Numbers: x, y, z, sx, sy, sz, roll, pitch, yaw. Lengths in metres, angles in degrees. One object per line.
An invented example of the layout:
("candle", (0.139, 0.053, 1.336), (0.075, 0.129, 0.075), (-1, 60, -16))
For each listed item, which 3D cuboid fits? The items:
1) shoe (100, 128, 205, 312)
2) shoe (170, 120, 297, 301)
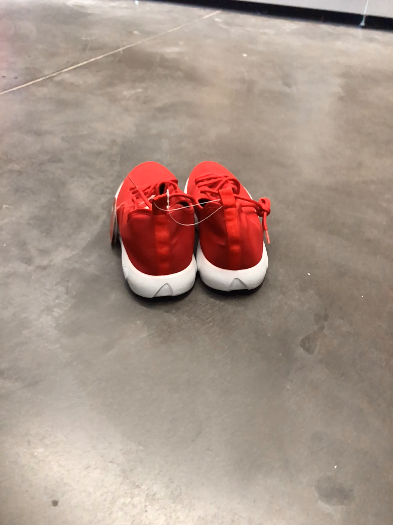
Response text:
("shoe", (-0.062, -0.068, 0.540), (0.100, 0.099, 0.251), (-5, 40, -8))
("shoe", (0.030, -0.080, 0.545), (0.100, 0.099, 0.251), (-4, 39, -7))
